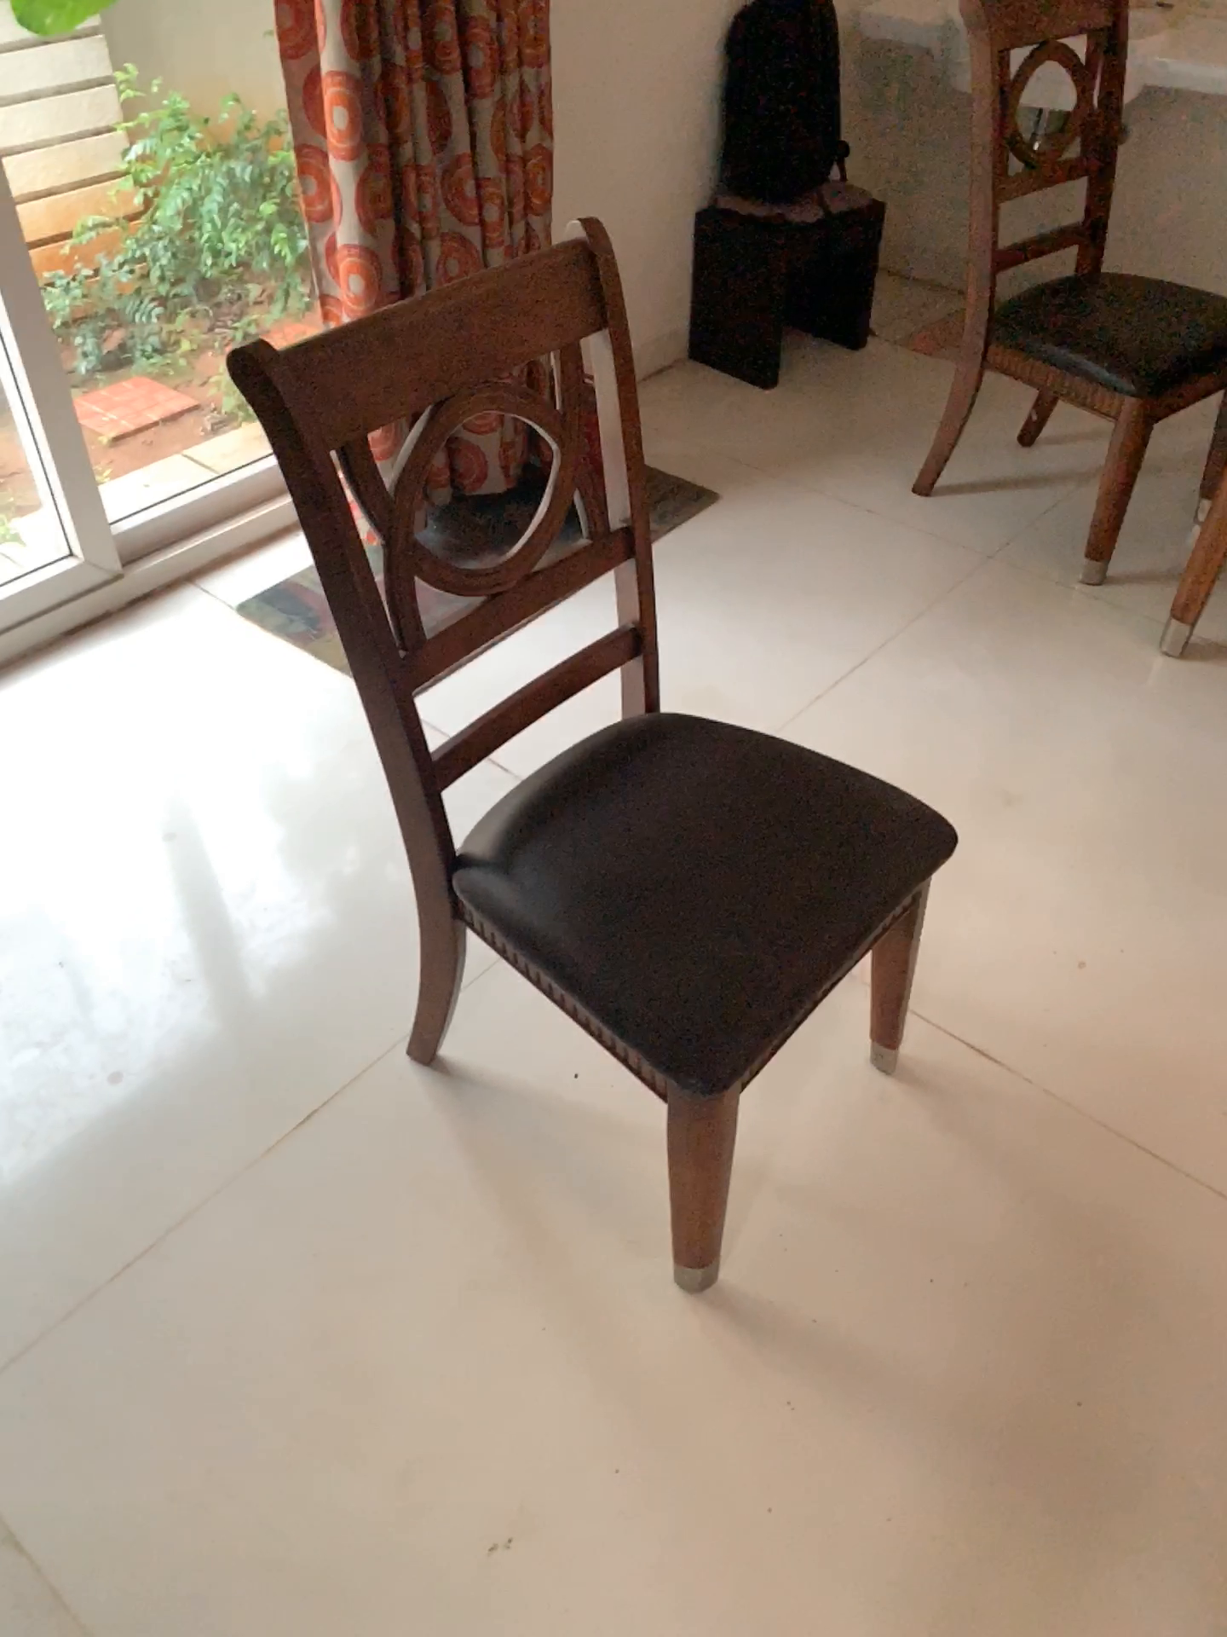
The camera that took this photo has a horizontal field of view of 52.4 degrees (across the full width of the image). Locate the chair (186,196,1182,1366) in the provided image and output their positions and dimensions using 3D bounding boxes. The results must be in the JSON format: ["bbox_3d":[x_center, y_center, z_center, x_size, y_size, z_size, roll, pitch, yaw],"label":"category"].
[{"bbox_3d":[0.060,-0.024,1.424,0.641,1.026,0.571,32,52,29],"label":"chair"}]
